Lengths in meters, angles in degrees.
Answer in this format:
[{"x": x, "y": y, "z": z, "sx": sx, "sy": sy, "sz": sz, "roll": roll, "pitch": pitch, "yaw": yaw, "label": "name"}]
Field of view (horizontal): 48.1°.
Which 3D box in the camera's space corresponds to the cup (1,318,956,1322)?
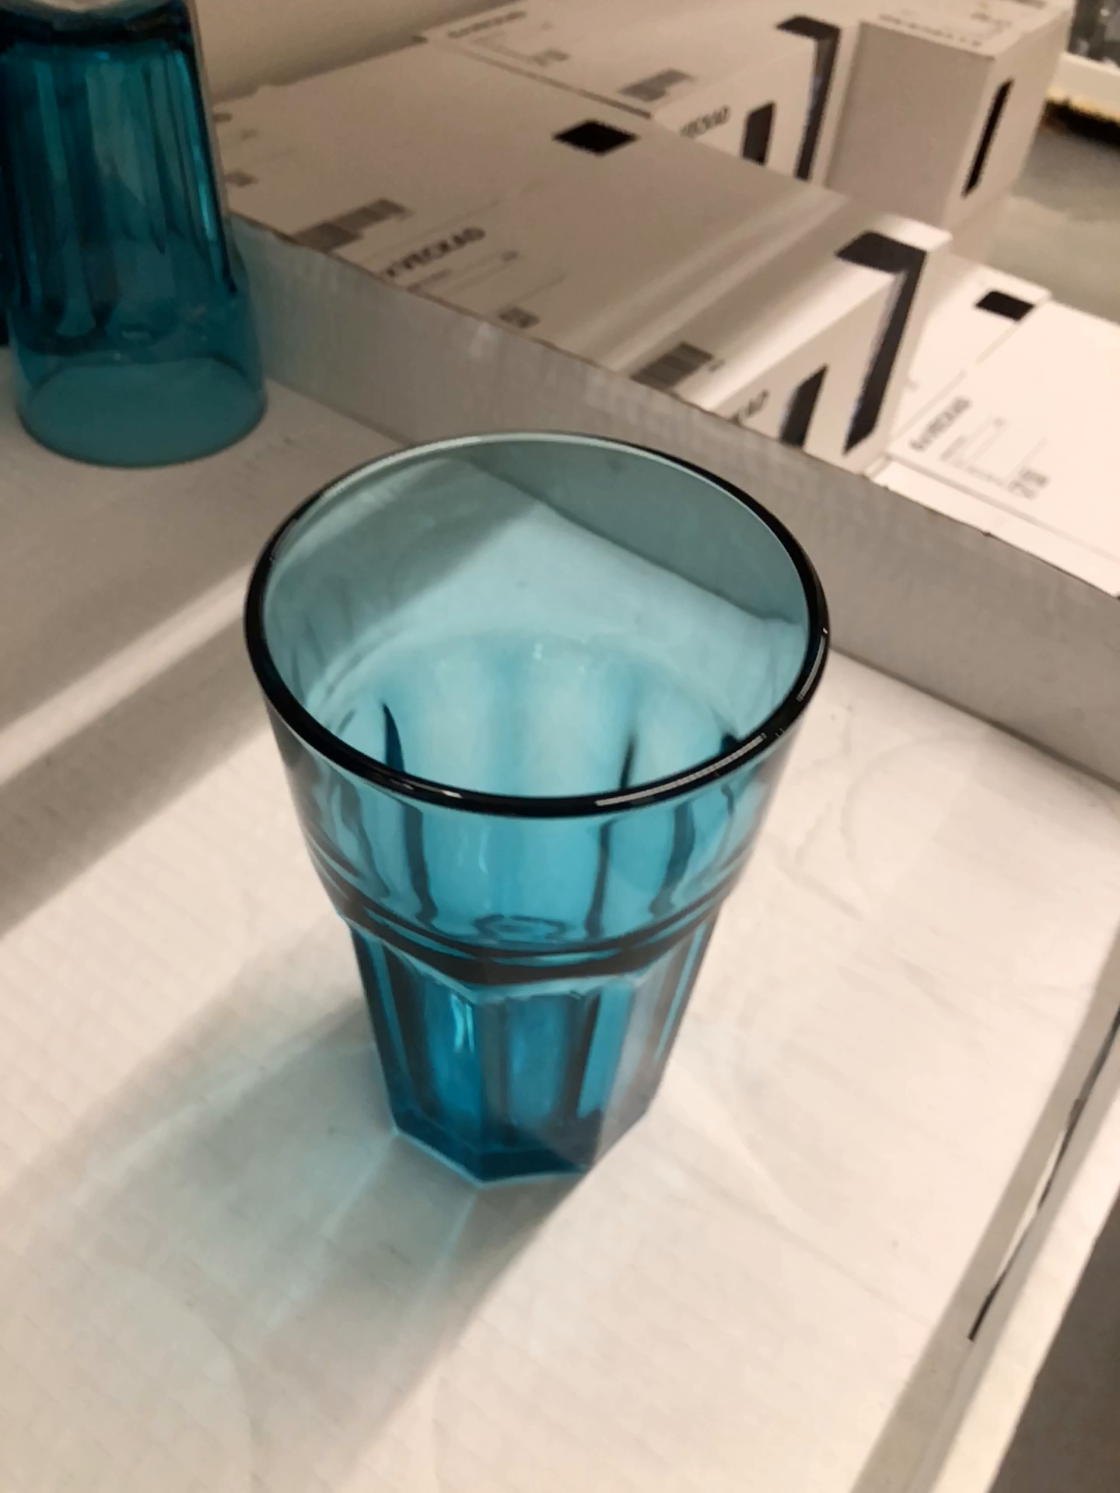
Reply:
[{"x": -0.012, "y": 0.009, "z": 0.205, "sx": 0.092, "sy": 0.102, "sz": 0.089, "roll": 3, "pitch": 45, "yaw": -3, "label": "cup"}]
